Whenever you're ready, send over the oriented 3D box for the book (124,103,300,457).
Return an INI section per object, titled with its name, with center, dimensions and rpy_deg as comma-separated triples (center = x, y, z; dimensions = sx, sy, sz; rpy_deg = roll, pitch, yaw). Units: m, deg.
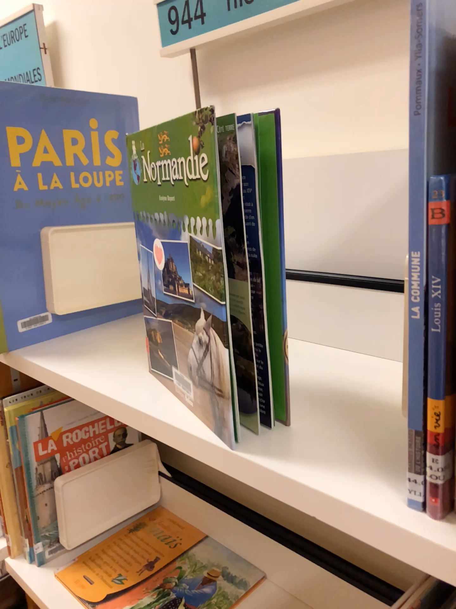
[book]
center = -0.024, -0.033, 0.456
dimensions = 0.077, 0.249, 0.208
rpy_deg = -8, 14, -22
